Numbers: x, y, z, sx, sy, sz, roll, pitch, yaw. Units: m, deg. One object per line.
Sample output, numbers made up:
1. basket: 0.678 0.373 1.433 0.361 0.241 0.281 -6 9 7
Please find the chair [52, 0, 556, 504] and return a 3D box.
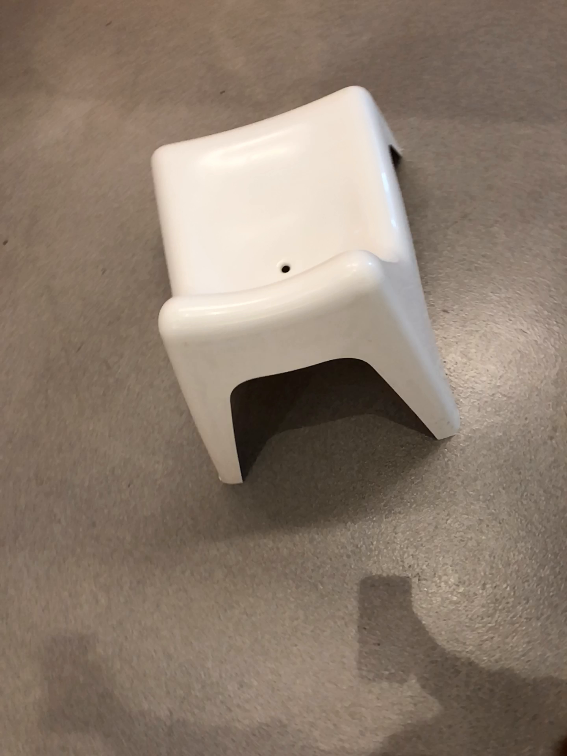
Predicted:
1. chair: 0.007 -0.225 1.008 0.530 0.400 0.690 -16 70 8
